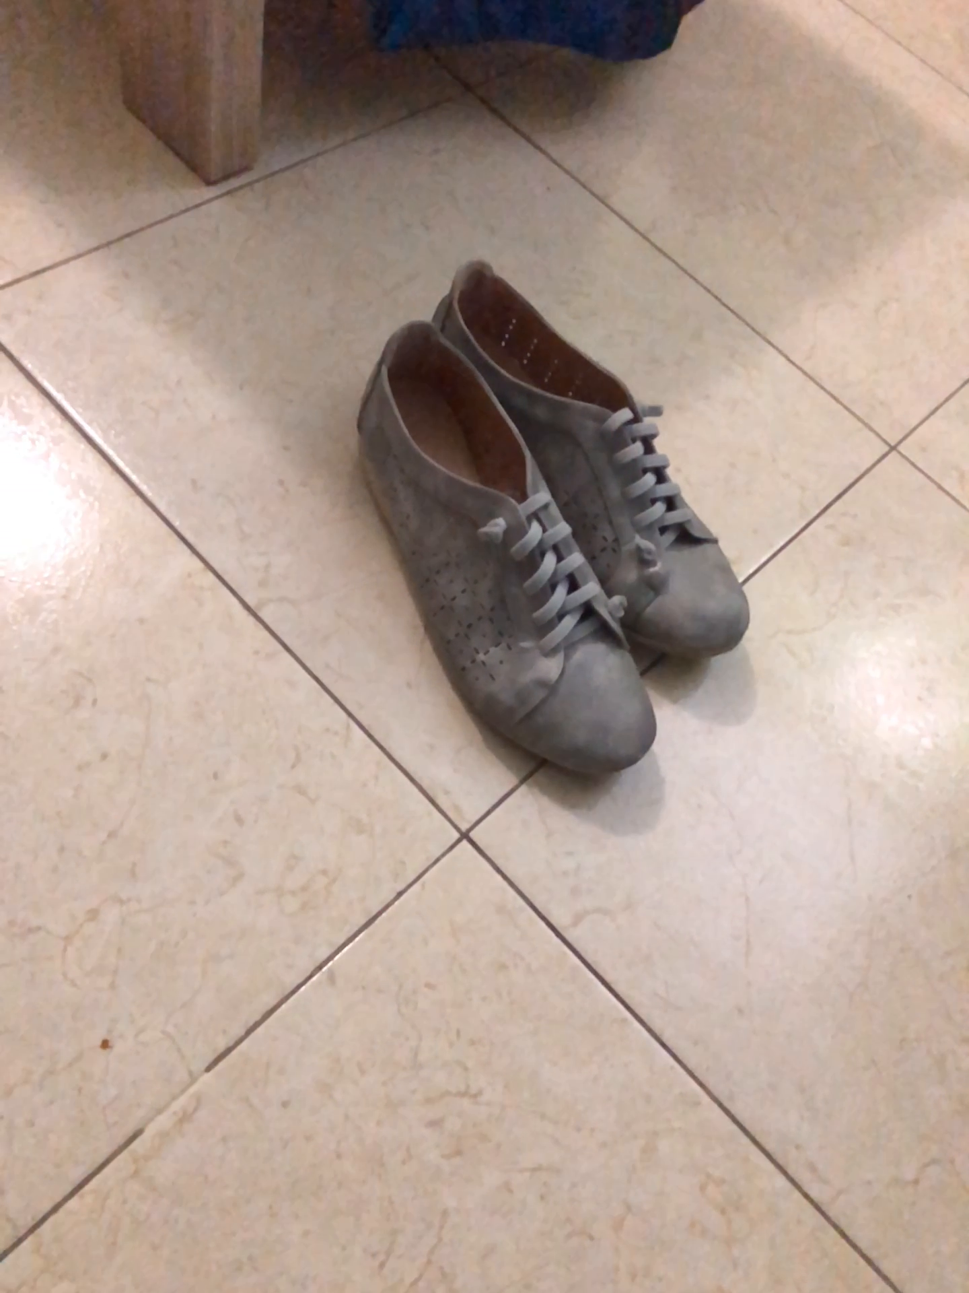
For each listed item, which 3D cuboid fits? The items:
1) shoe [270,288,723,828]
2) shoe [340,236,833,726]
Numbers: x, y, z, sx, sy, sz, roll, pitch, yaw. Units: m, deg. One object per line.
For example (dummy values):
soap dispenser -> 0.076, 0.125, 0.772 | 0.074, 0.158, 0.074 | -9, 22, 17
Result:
shoe -> -0.007, -0.057, 0.618 | 0.100, 0.100, 0.290 | -26, 70, -25
shoe -> 0.051, -0.104, 0.652 | 0.100, 0.100, 0.290 | -38, 76, -29
